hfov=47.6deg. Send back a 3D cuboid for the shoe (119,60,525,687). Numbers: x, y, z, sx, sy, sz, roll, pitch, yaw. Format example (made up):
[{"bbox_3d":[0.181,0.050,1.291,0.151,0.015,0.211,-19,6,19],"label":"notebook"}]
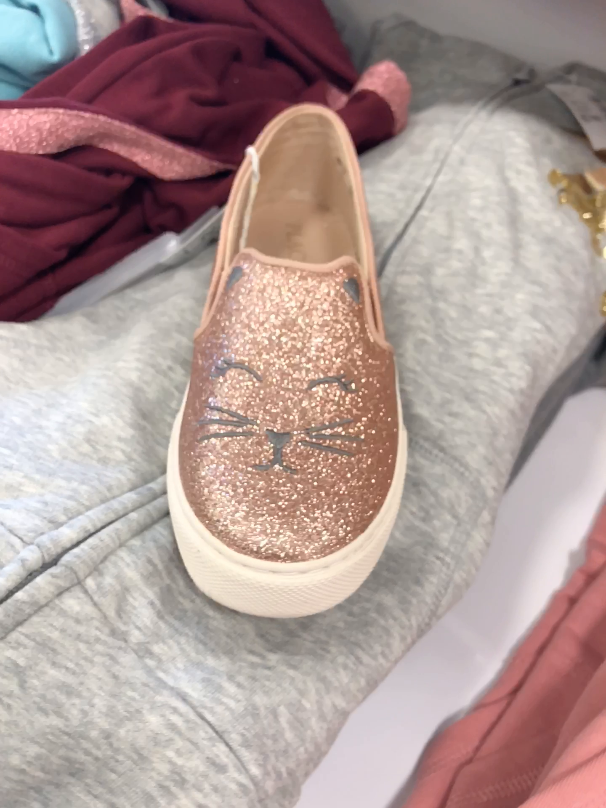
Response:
[{"bbox_3d":[0.005,-0.028,0.251,0.090,0.080,0.221,10,49,-6],"label":"shoe"}]
